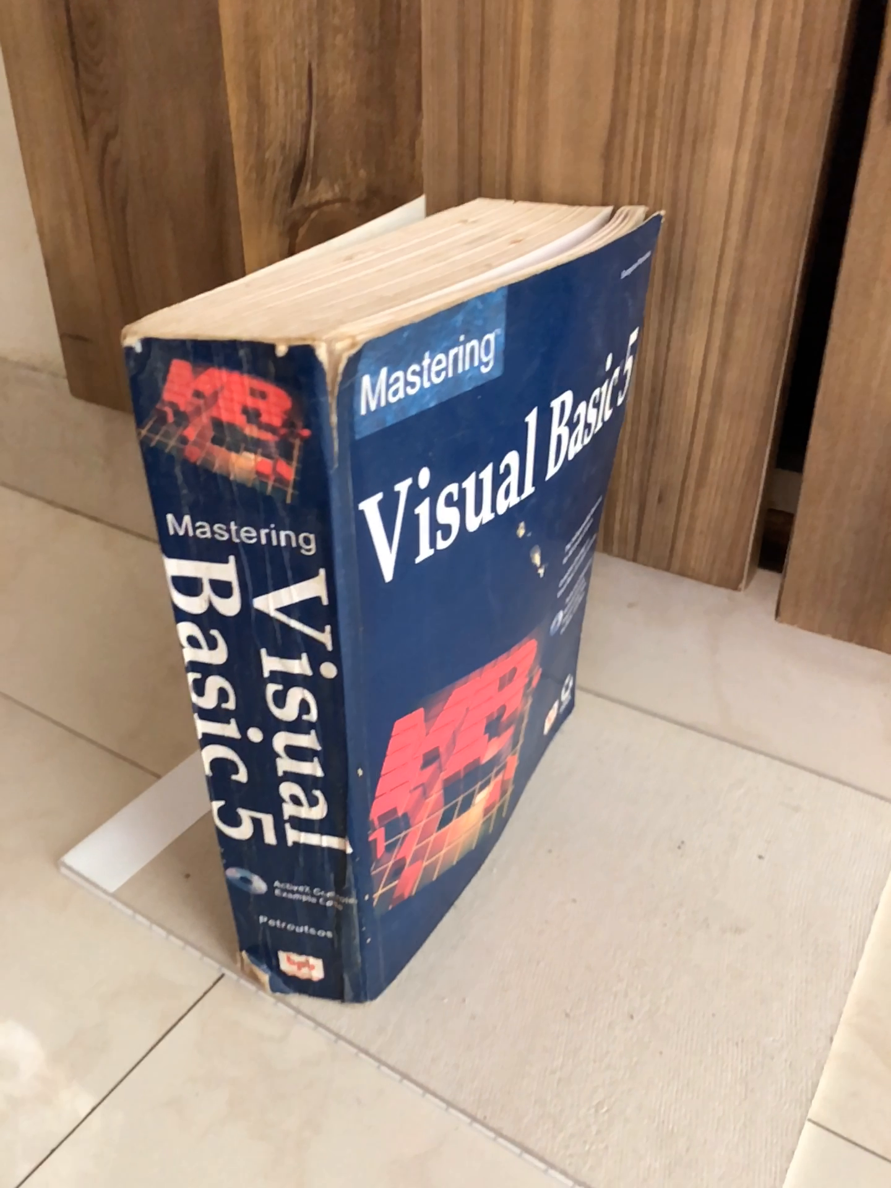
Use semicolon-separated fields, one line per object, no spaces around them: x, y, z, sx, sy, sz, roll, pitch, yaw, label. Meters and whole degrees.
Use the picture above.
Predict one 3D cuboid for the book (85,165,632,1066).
-0.002;-0.005;0.360;0.060;0.249;0.211;13;34;25;book
